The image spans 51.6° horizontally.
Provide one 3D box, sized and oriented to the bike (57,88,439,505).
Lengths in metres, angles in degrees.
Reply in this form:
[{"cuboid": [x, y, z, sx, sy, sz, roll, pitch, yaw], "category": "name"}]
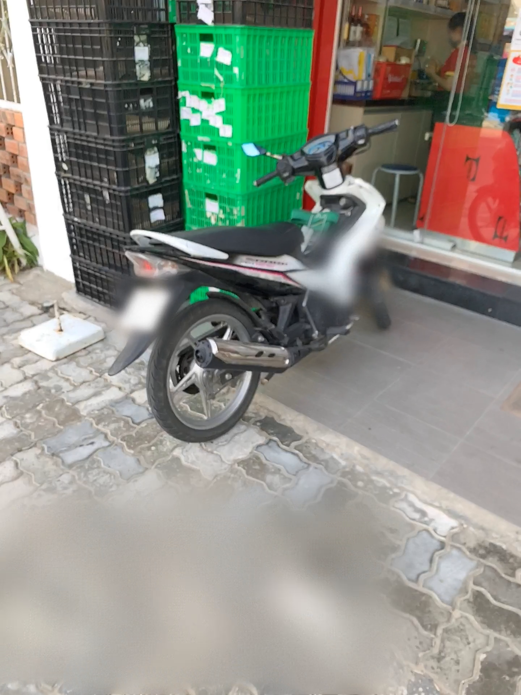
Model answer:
[{"cuboid": [0.089, -0.449, 2.480, 0.668, 1.186, 1.821, 20, 35, 28], "category": "bike"}]
